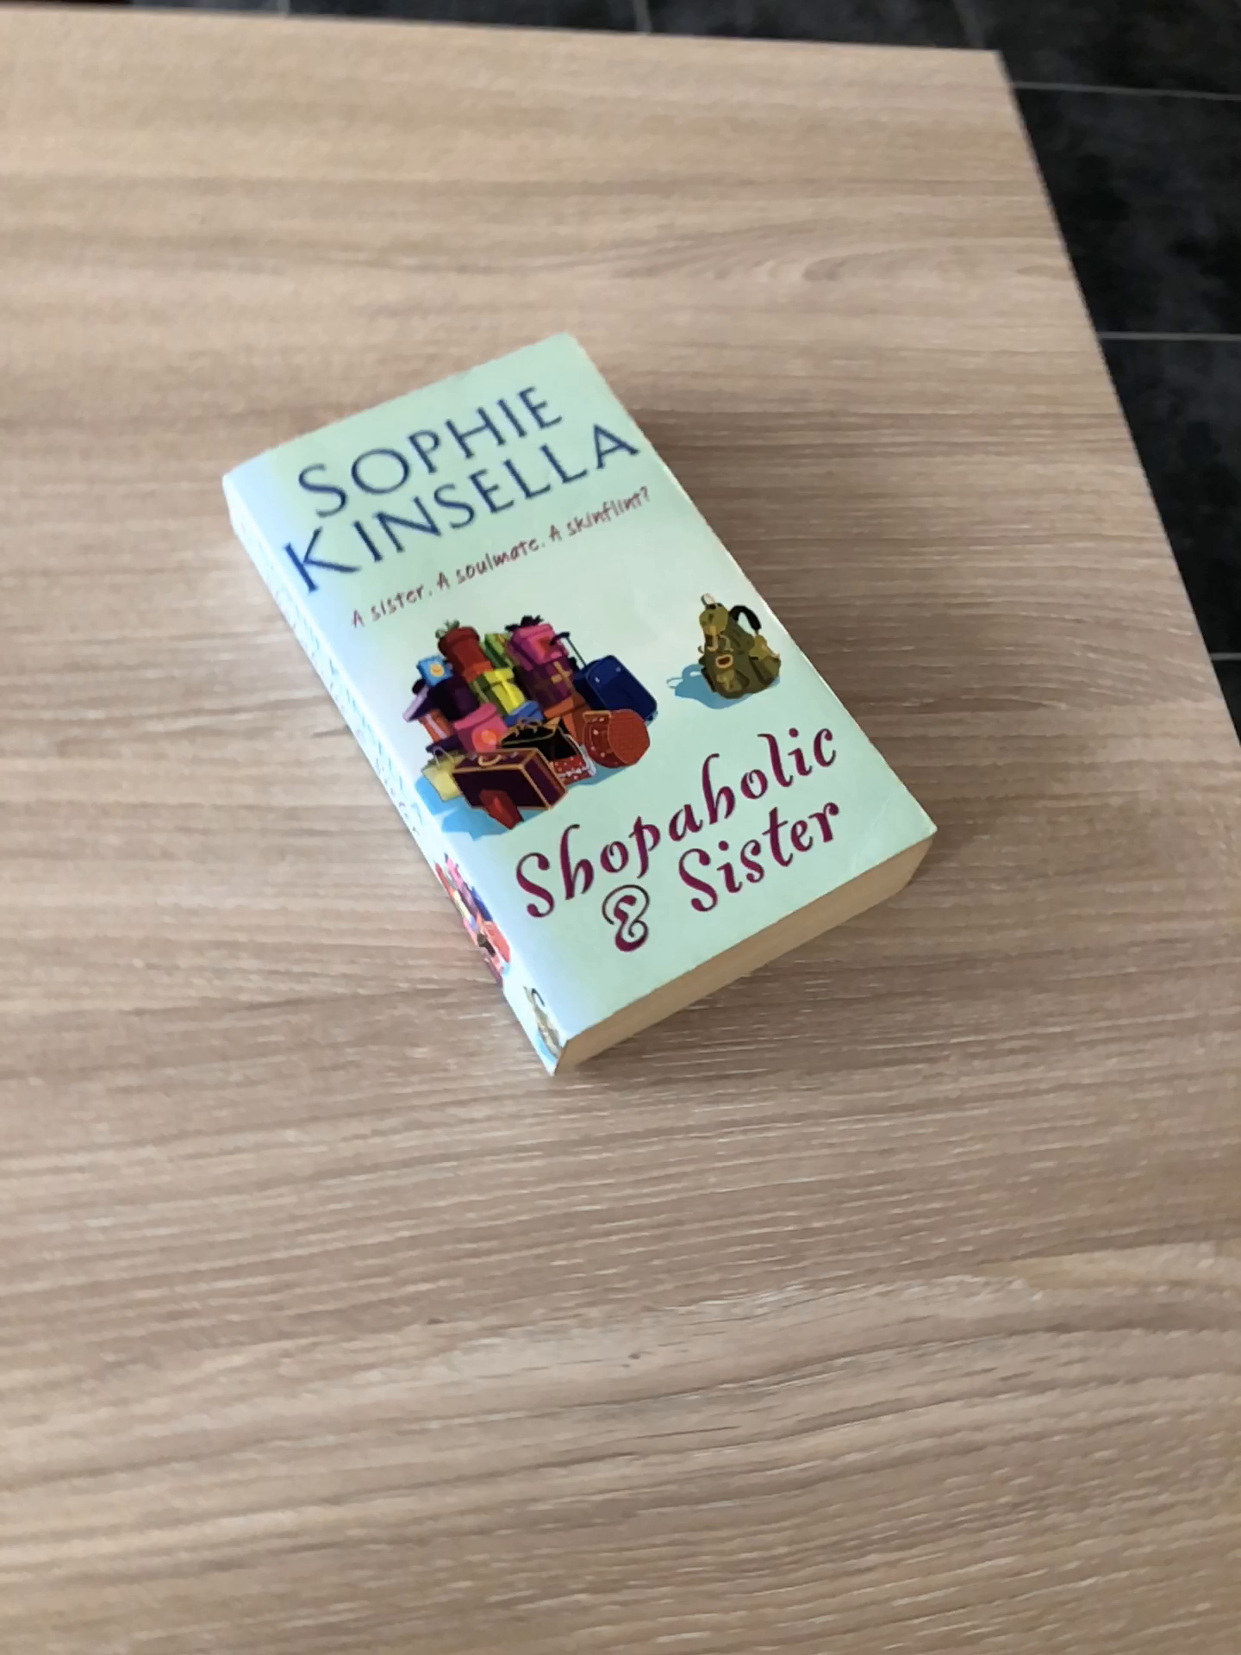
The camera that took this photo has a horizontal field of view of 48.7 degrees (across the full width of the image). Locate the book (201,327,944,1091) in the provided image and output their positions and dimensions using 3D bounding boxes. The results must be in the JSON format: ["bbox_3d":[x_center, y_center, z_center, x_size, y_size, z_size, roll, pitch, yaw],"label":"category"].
[{"bbox_3d":[-0.017,-0.040,0.351,0.107,0.032,0.180,-26,69,-19],"label":"book"}]
